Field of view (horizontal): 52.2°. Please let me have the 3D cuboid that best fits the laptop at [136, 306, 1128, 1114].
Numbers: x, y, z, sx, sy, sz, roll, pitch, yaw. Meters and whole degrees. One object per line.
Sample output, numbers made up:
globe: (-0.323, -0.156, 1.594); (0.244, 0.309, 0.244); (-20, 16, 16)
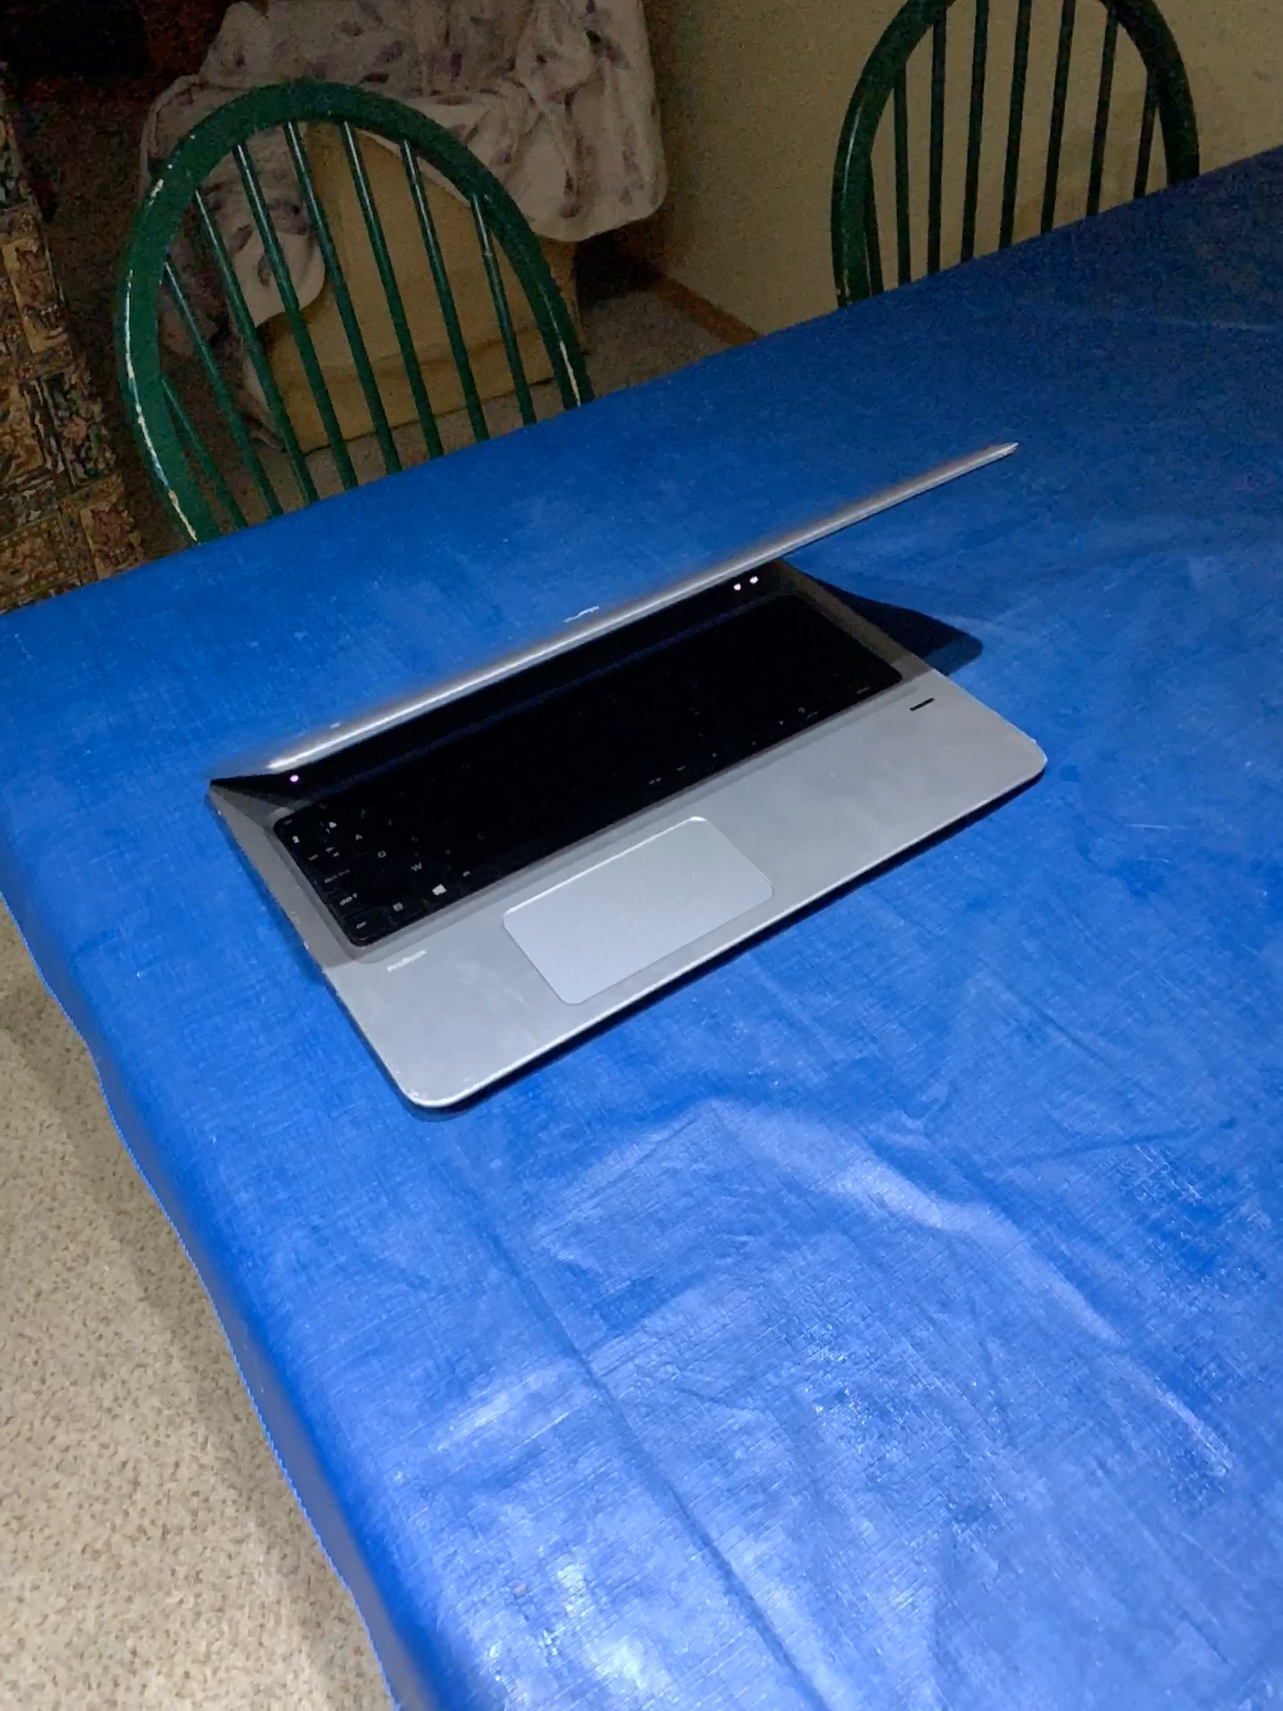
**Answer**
laptop: (-0.005, -0.097, 0.643); (0.366, 0.156, 0.254); (-27, 51, -21)
